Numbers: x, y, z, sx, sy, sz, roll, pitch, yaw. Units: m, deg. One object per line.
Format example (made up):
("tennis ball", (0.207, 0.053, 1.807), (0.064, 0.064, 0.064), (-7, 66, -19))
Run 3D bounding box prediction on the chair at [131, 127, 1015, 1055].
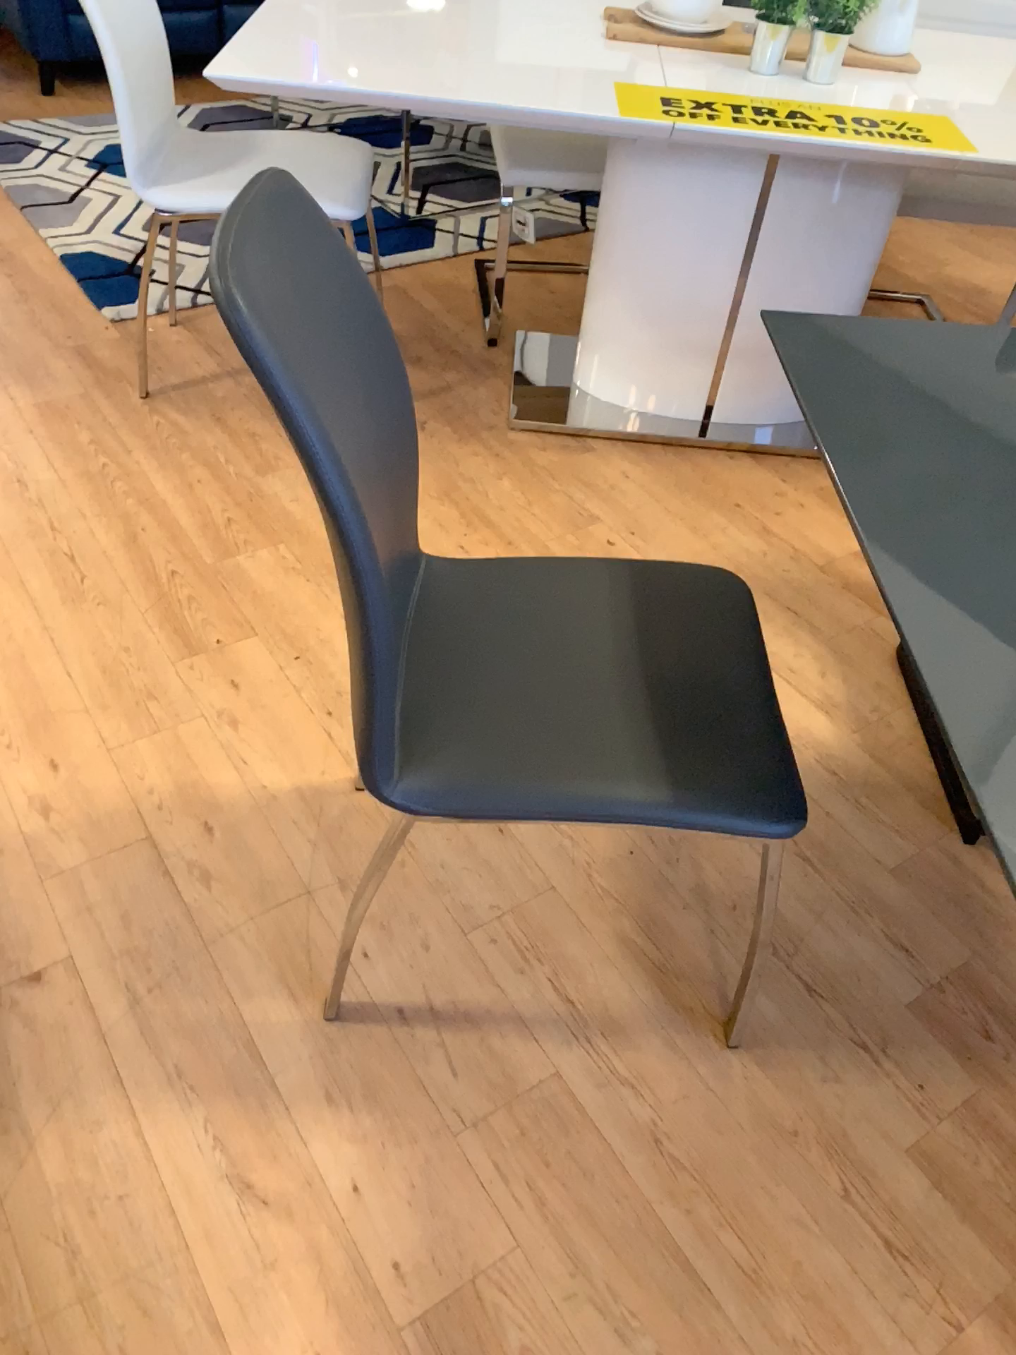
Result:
("chair", (0.039, -0.030, 1.166), (0.640, 0.891, 0.485), (4, 44, -3))
